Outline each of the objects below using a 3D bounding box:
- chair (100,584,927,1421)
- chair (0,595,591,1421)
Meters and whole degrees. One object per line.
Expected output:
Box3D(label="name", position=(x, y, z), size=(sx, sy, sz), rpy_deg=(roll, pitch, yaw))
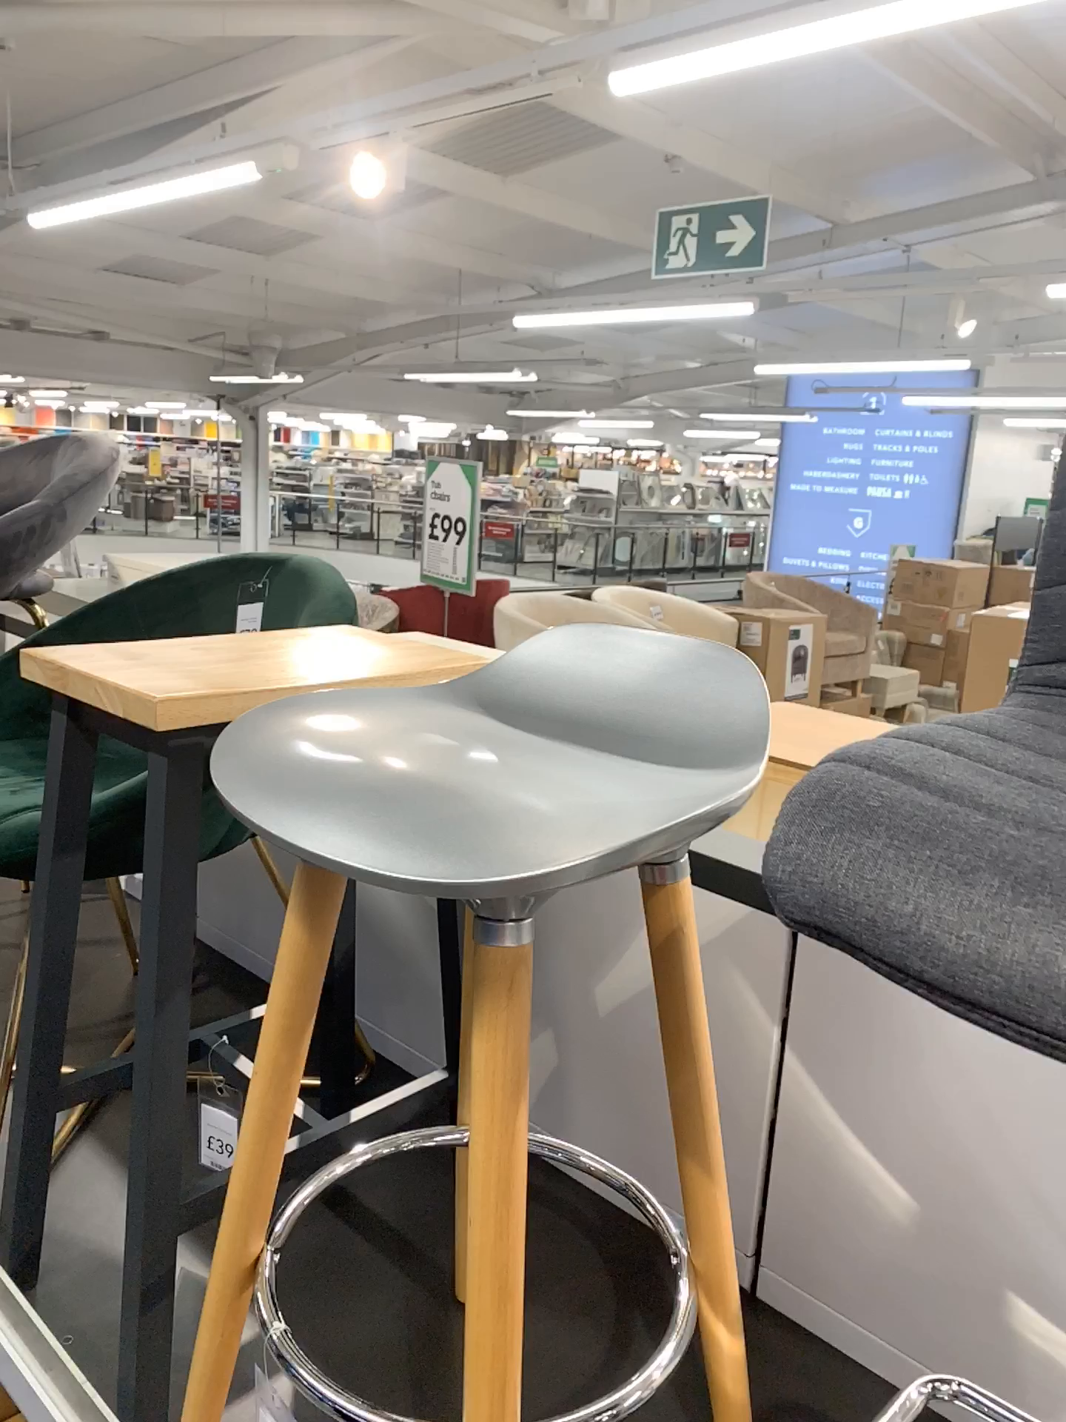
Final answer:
Box3D(label="chair", position=(-0.034, 0.295, 0.911), size=(0.443, 0.737, 0.462), rpy_deg=(15, 16, 43))
Box3D(label="chair", position=(-0.292, 0.253, 1.203), size=(0.443, 0.687, 0.502), rpy_deg=(14, 15, 41))
